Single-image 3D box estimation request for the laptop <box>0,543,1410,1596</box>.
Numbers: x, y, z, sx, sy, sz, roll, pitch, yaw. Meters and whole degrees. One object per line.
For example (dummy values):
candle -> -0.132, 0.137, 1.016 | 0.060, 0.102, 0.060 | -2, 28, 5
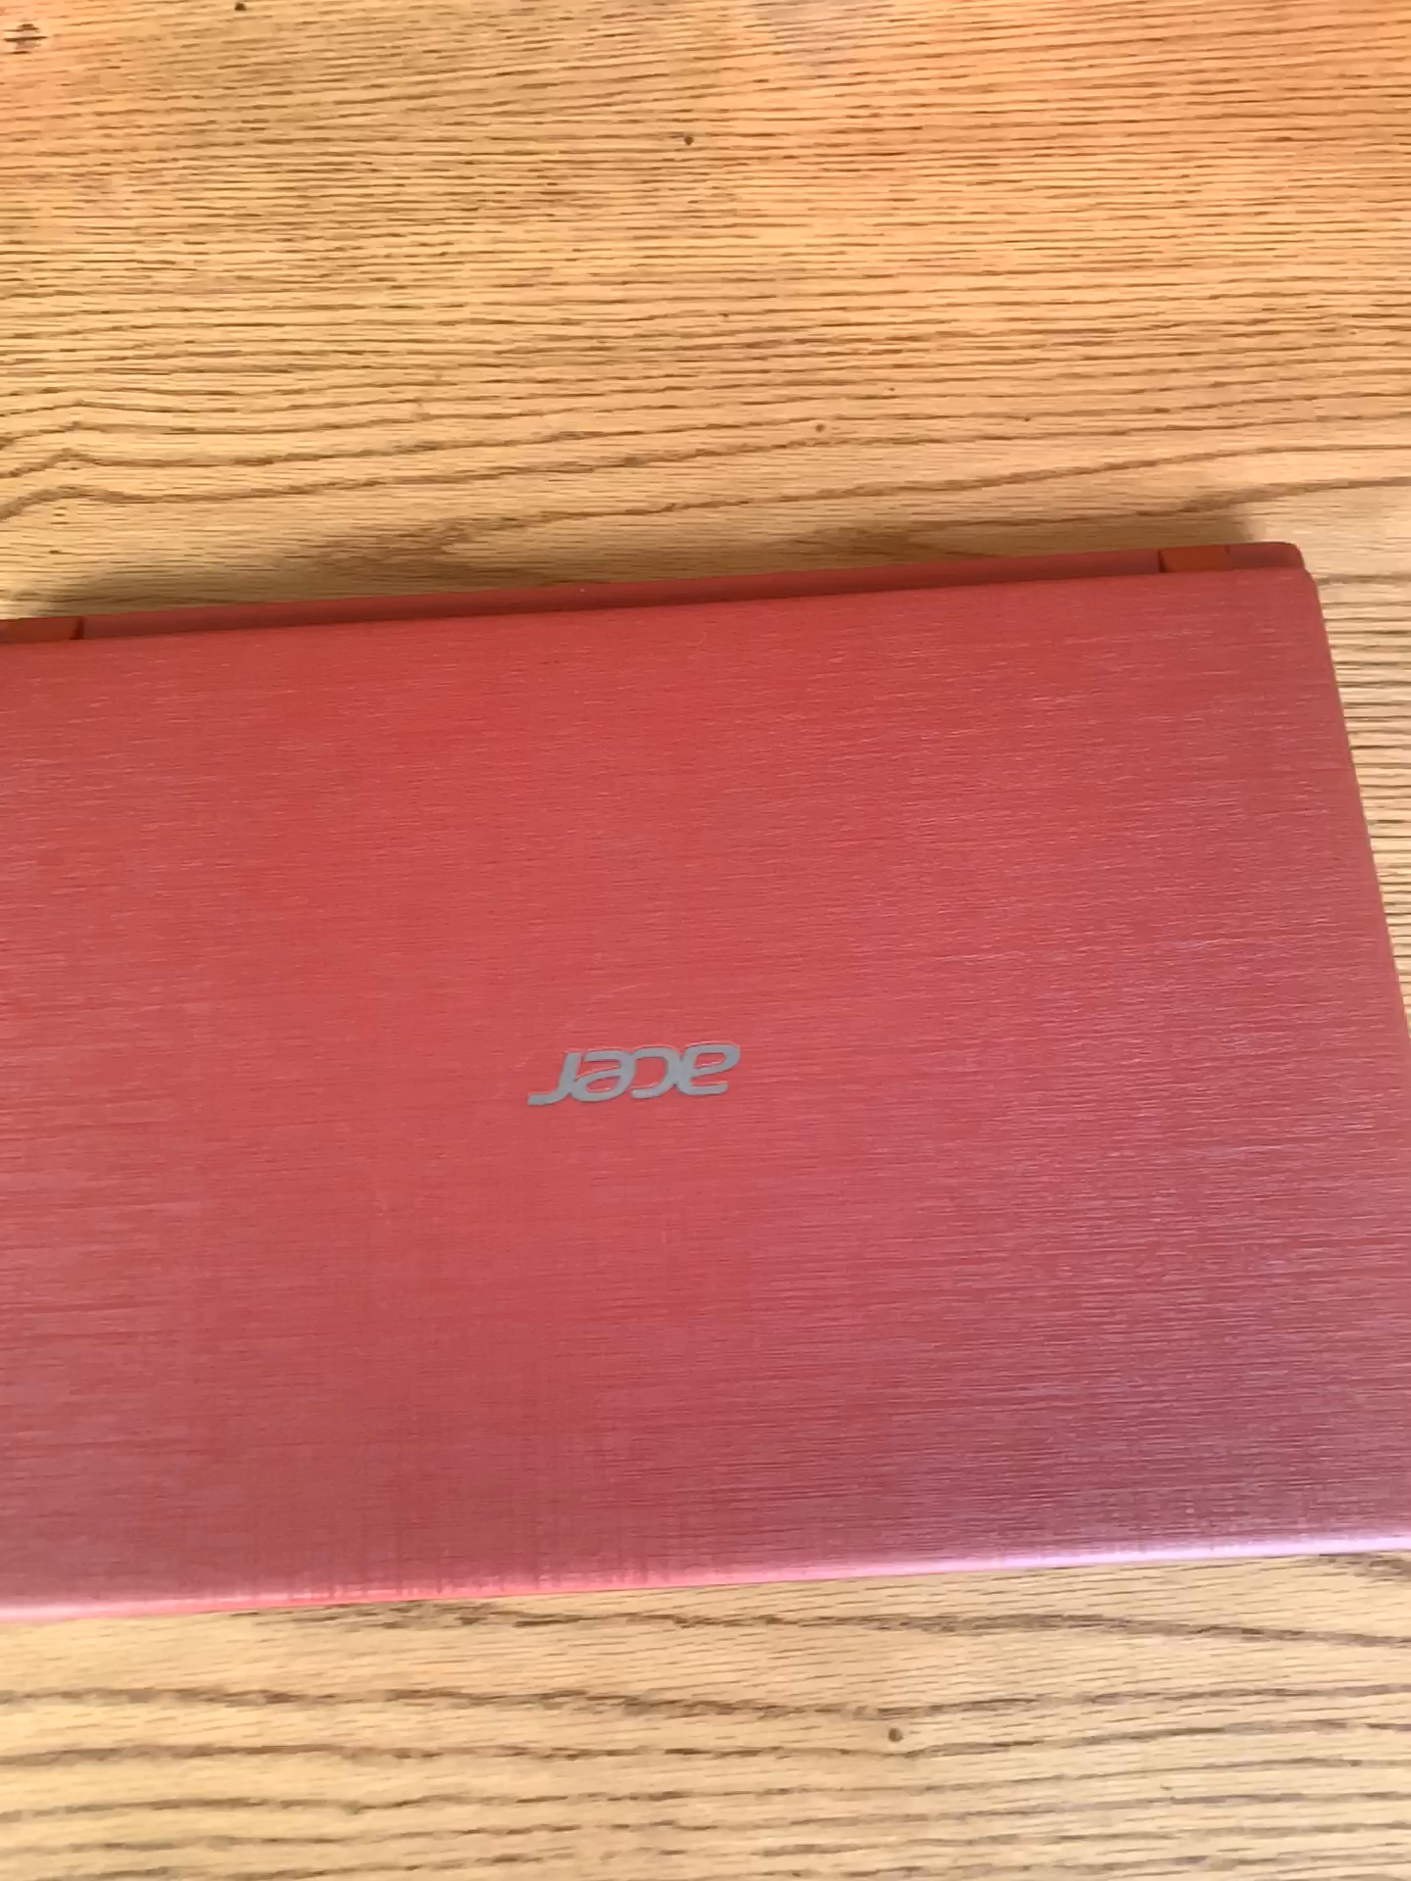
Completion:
laptop -> -0.019, 0.024, 0.353 | 0.362, 0.013, 0.236 | -3, 74, 2
